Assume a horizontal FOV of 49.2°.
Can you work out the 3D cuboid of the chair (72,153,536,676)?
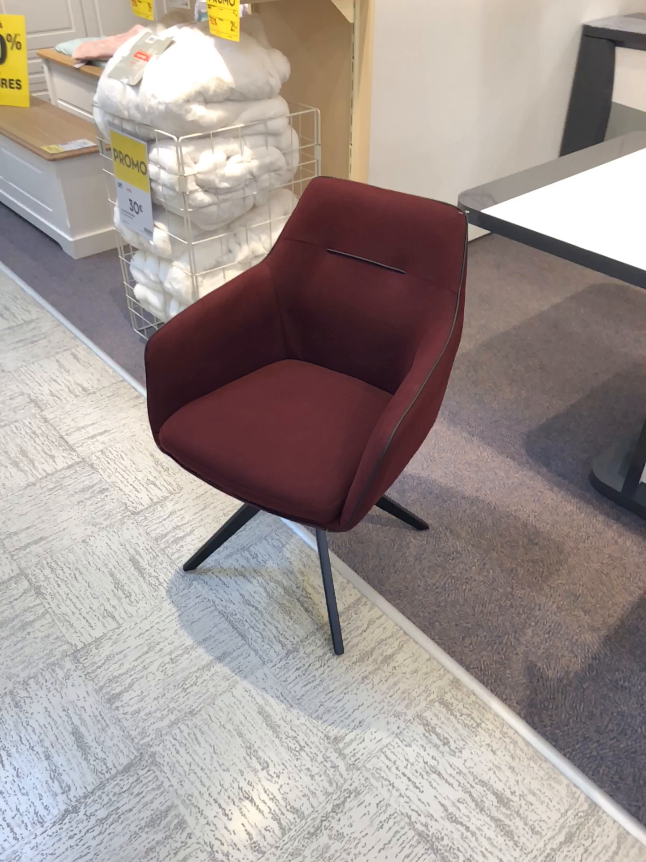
[{"bbox_3d":[-0.012,-0.068,1.444,0.580,0.735,0.574,22,43,26],"label":"chair"}]
